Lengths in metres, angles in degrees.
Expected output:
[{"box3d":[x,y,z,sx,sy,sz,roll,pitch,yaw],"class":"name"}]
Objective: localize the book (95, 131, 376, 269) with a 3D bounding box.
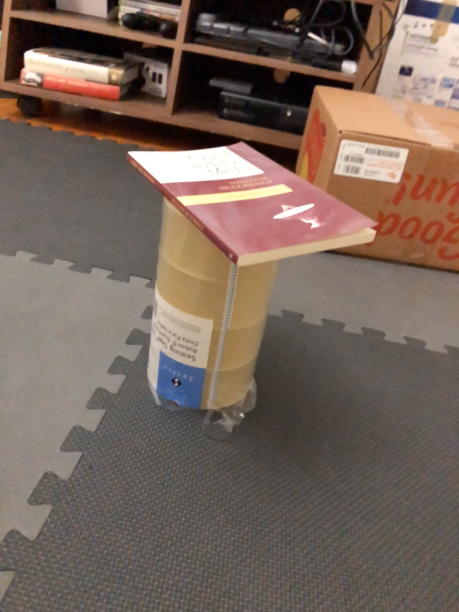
[{"box3d":[-0.004,-0.103,0.427,0.140,0.020,0.211,-15,41,-34],"class":"book"}]
